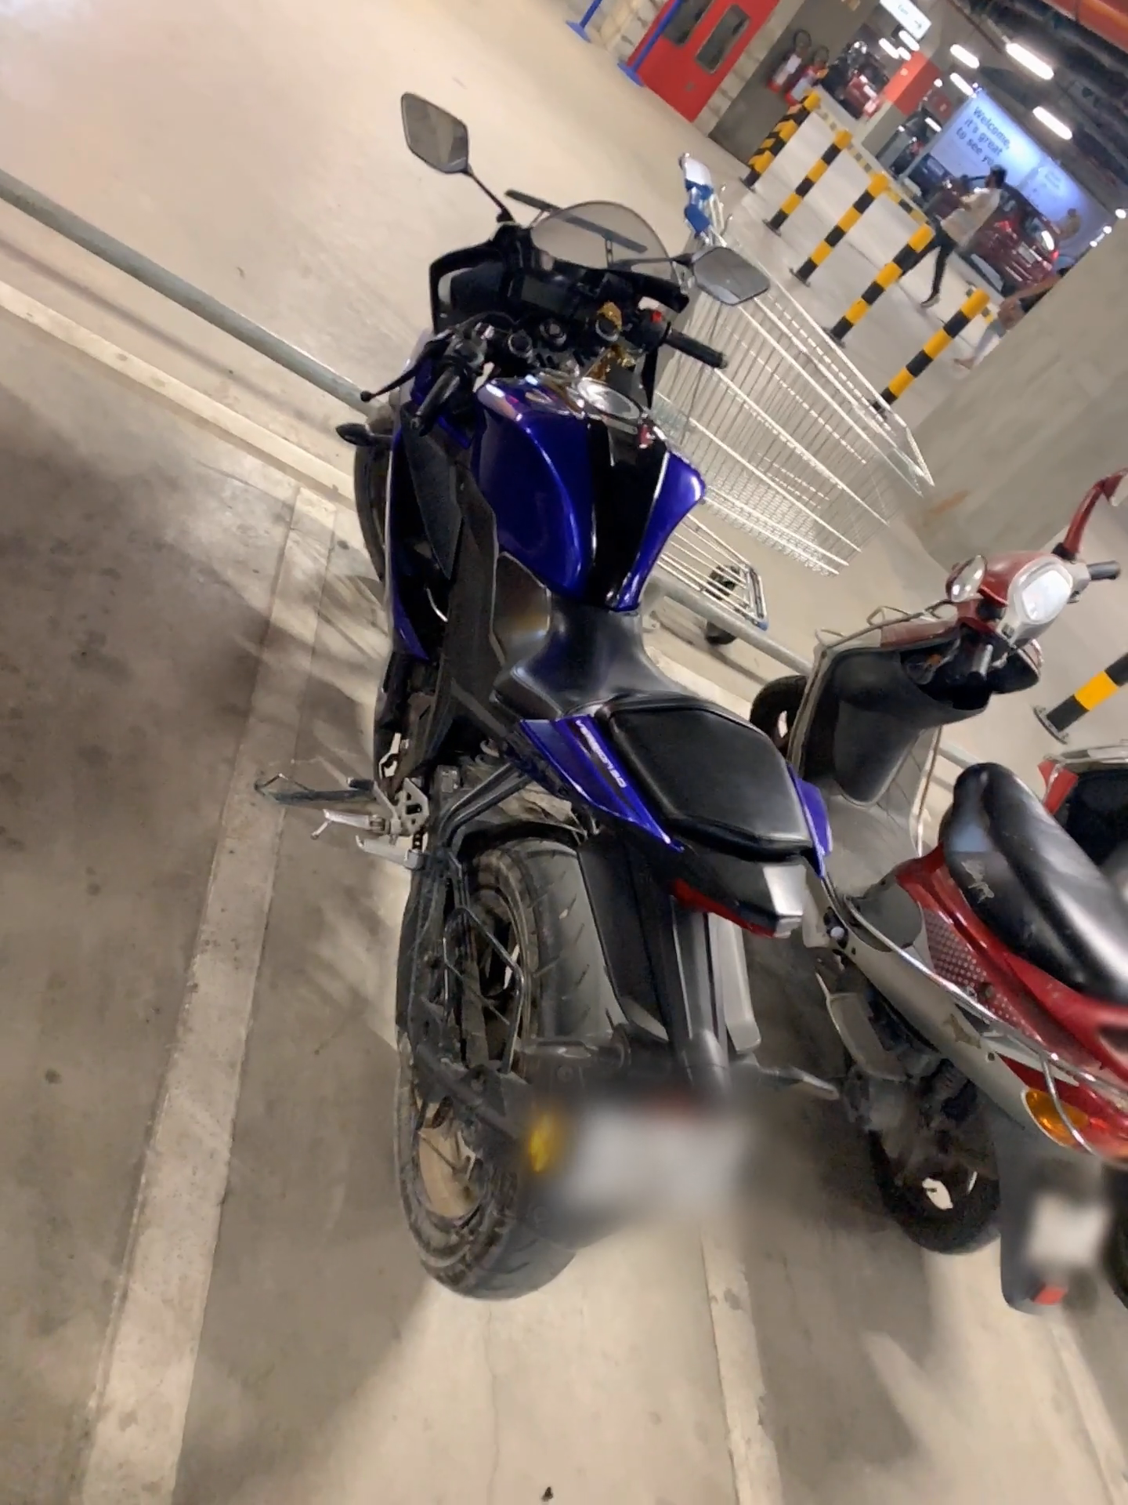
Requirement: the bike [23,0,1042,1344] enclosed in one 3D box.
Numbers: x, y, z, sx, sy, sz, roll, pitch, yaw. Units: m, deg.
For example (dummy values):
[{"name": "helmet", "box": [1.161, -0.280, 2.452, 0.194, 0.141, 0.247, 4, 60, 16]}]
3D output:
[{"name": "bike", "box": [-0.258, -0.219, 1.684, 0.690, 0.932, 1.652, 16, 44, -37]}]
